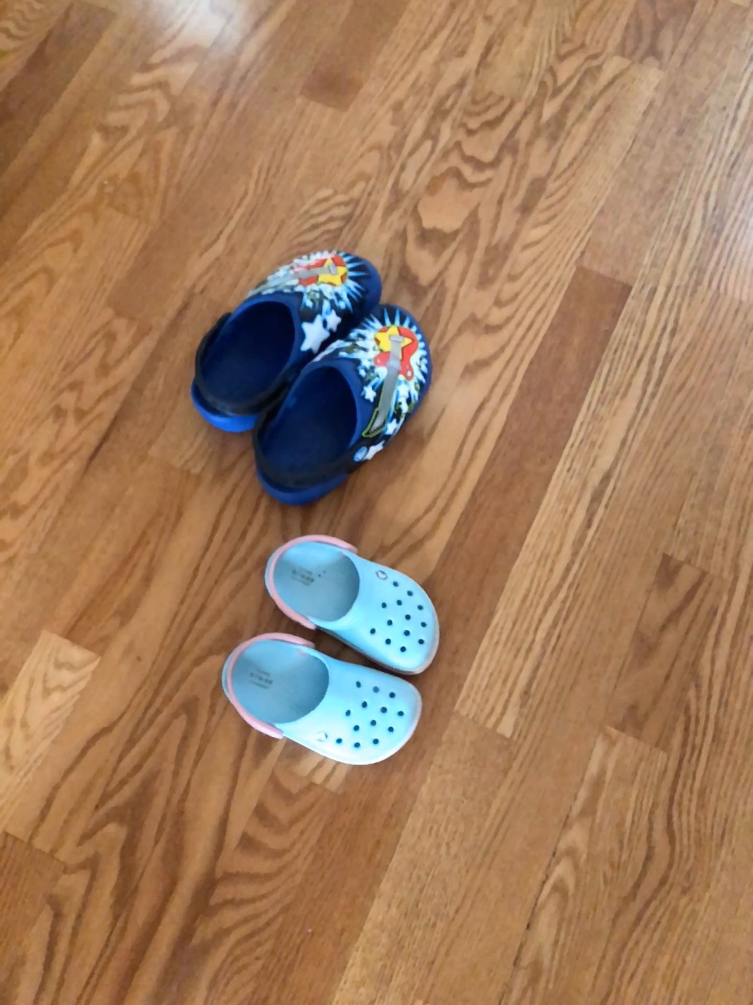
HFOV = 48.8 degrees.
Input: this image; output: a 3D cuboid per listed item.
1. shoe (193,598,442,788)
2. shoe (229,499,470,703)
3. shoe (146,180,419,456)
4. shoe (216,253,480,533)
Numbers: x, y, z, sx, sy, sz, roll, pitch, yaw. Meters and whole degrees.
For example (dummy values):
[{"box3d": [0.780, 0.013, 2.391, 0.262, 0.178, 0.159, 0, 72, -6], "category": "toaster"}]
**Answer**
[{"box3d": [-0.044, 0.151, 0.660, 0.170, 0.050, 0.090, 19, 72, 7], "category": "shoe"}, {"box3d": [-0.022, 0.081, 0.686, 0.170, 0.050, 0.090, 27, 73, 10], "category": "shoe"}, {"box3d": [-0.079, -0.169, 0.756, 0.110, 0.070, 0.230, 40, 76, 13], "category": "shoe"}, {"box3d": [-0.021, -0.098, 0.735, 0.110, 0.070, 0.220, 37, 75, 13], "category": "shoe"}]
